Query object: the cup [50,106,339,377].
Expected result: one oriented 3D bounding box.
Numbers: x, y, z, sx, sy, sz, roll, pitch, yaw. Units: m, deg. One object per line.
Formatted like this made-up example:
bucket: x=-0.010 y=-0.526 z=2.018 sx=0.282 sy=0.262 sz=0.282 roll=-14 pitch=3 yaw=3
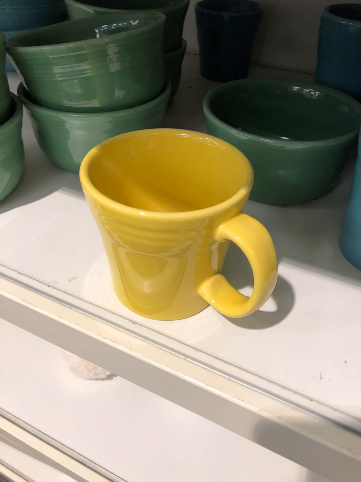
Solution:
cup: x=0.009 y=-0.008 z=0.267 sx=0.137 sy=0.100 sz=0.097 roll=24 pitch=47 yaw=23
